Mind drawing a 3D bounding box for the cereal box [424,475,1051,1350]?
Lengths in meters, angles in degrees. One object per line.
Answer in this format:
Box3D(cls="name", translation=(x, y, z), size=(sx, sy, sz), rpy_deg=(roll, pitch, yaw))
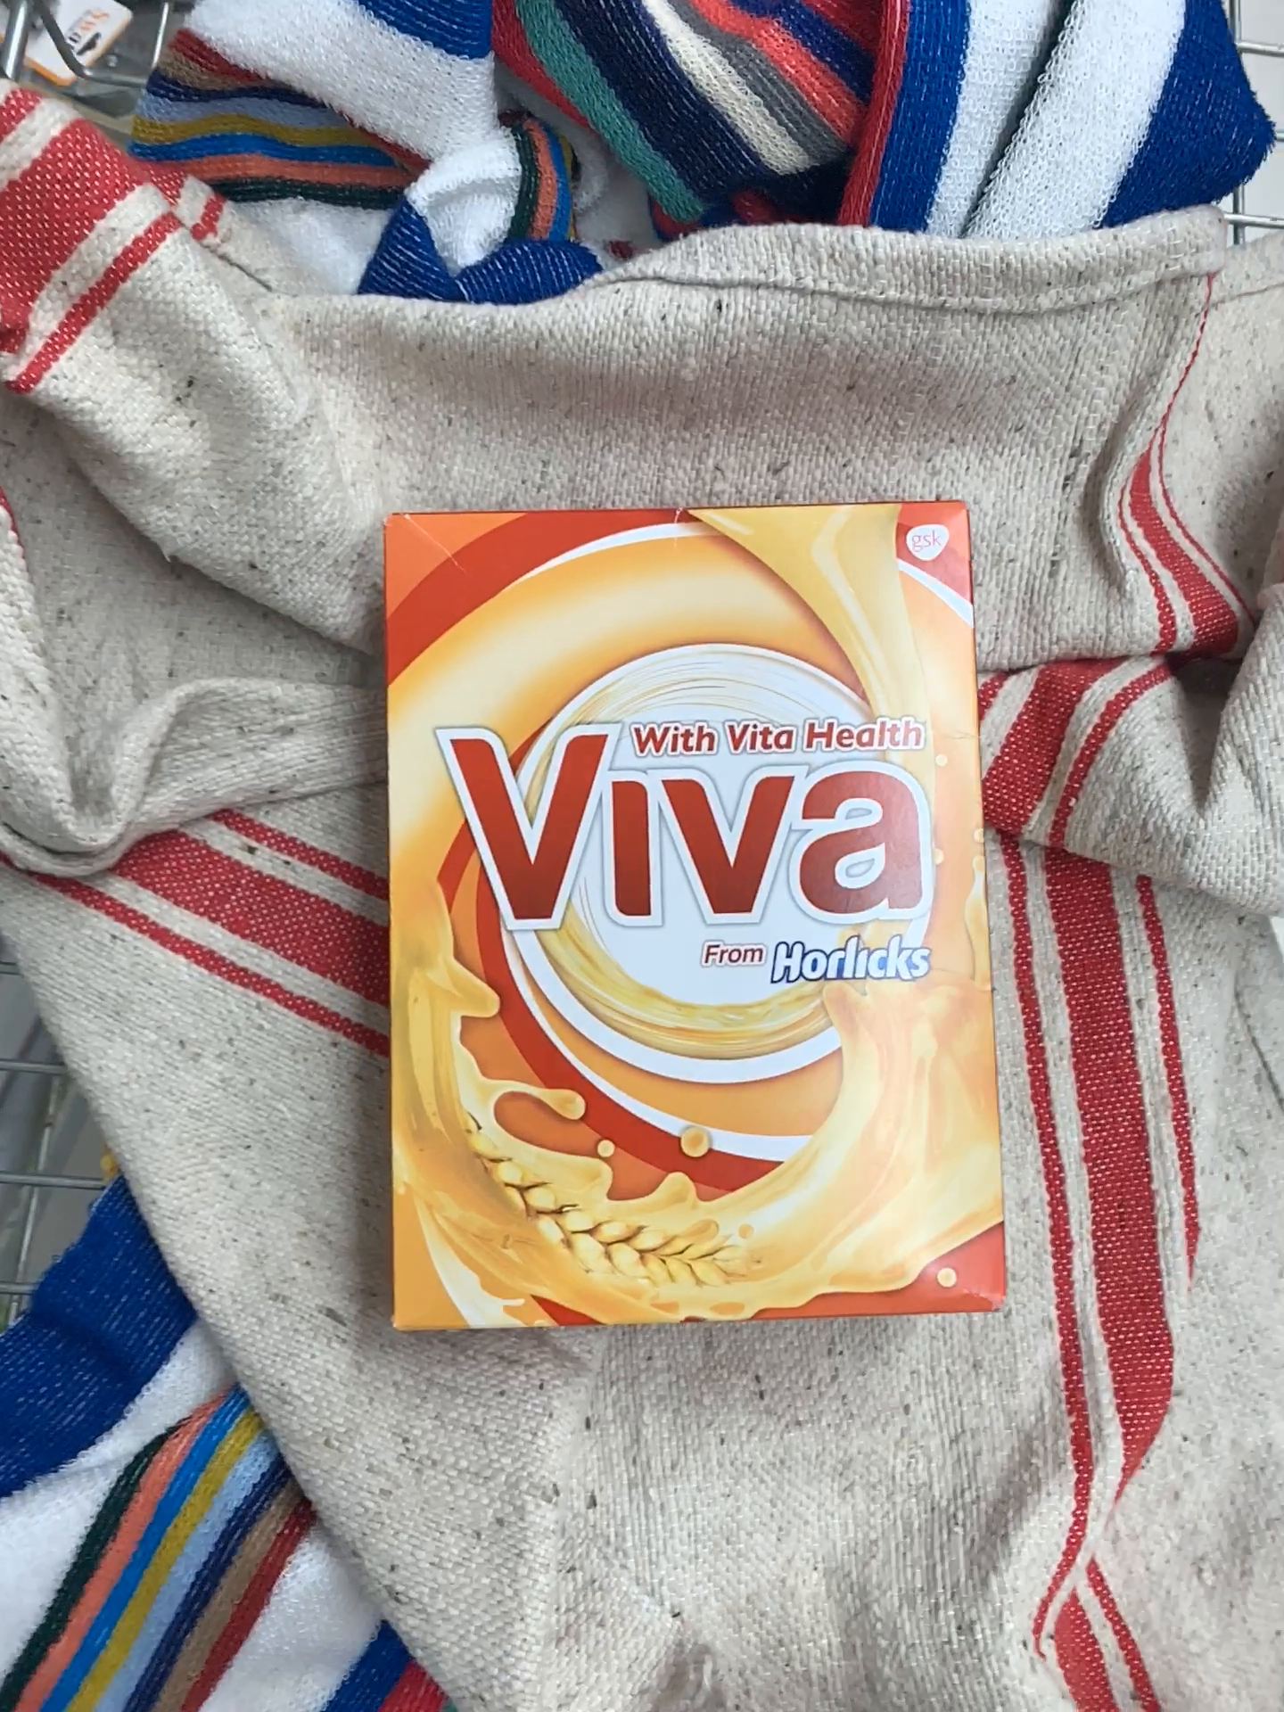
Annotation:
Box3D(cls="cereal box", translation=(0.019, 0.012, 0.343), size=(0.140, 0.070, 0.200), rpy_deg=(-1, 85, -4))
